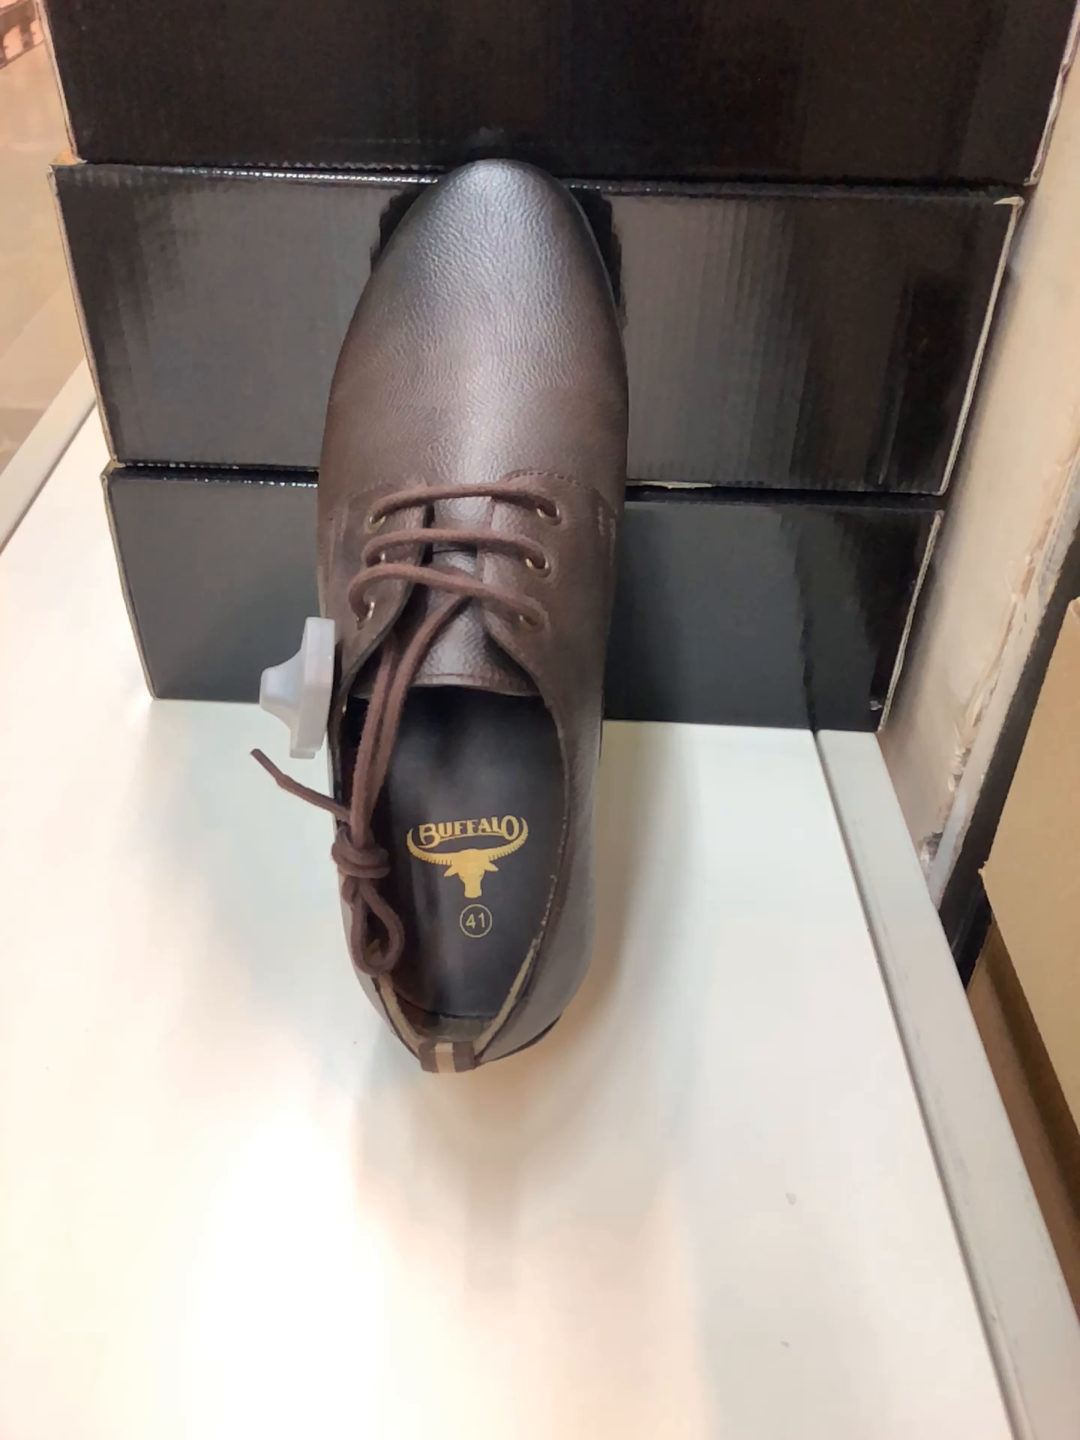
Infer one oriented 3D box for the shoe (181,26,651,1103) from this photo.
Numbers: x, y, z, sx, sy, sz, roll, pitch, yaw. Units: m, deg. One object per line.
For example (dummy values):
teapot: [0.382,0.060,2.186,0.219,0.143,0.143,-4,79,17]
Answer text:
shoe: [-0.029,-0.038,0.357,0.111,0.272,0.116,-2,-7,6]
